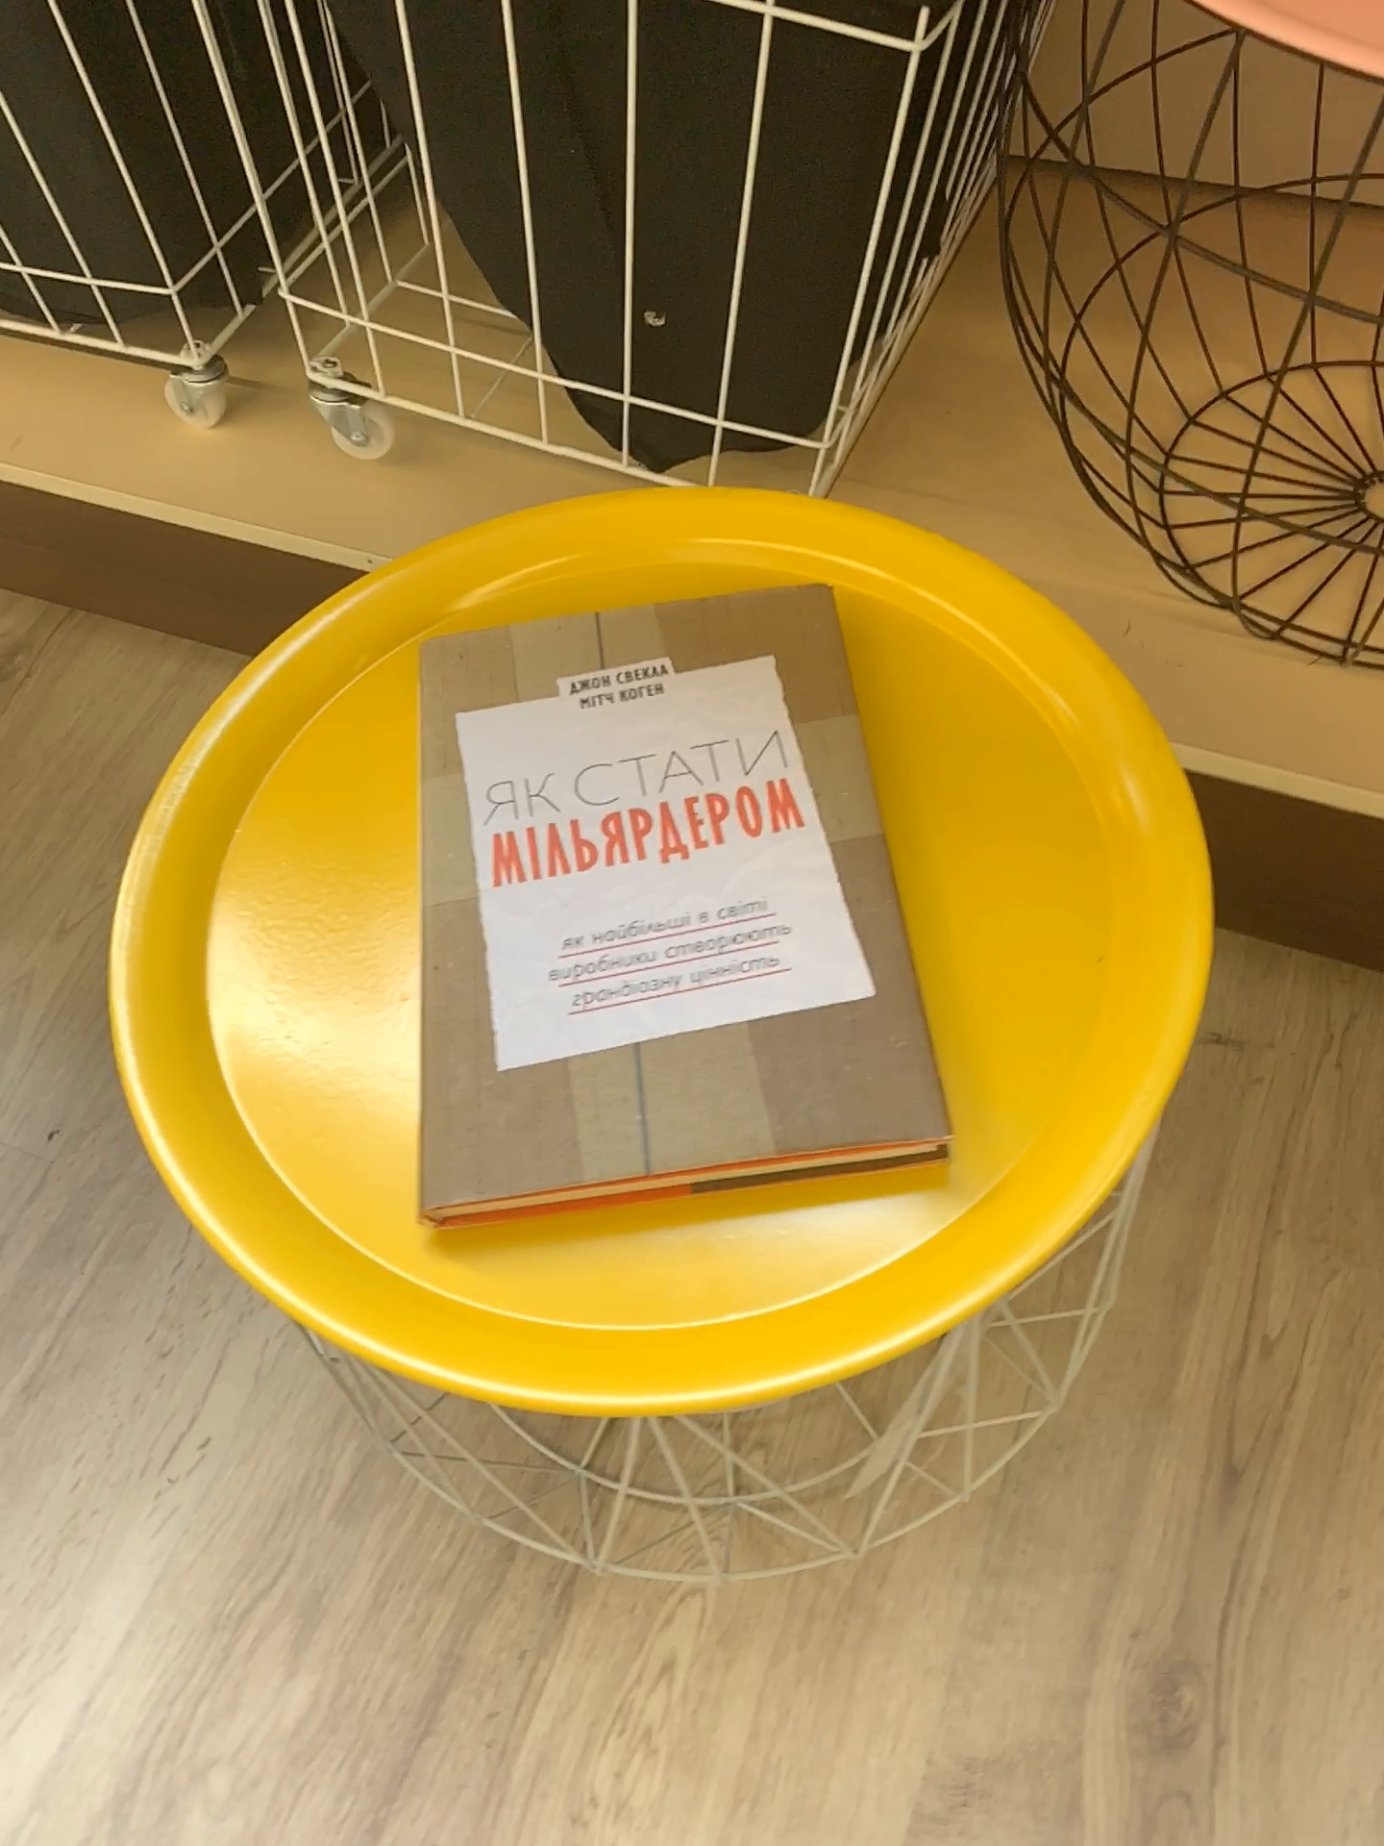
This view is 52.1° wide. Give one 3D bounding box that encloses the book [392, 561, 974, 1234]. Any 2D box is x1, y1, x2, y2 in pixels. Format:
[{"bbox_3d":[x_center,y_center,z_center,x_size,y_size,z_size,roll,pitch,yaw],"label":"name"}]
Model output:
[{"bbox_3d":[-0.016,-0.022,0.486,0.170,0.020,0.236,-9,57,1],"label":"book"}]
